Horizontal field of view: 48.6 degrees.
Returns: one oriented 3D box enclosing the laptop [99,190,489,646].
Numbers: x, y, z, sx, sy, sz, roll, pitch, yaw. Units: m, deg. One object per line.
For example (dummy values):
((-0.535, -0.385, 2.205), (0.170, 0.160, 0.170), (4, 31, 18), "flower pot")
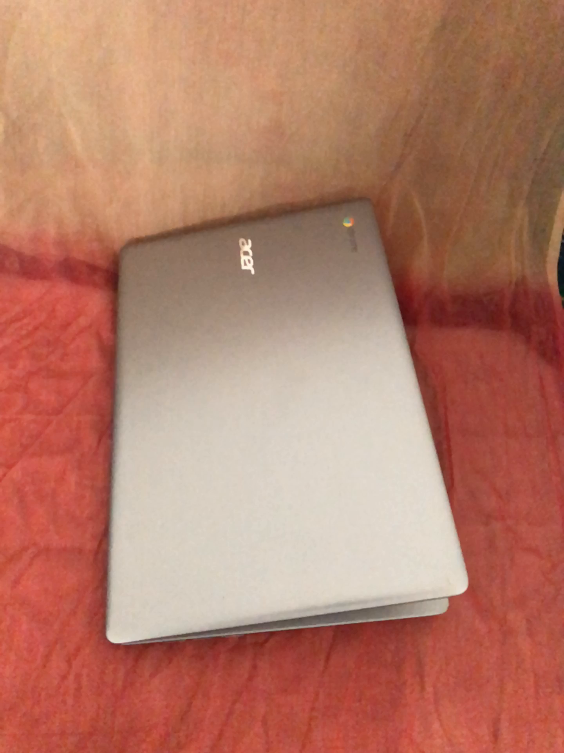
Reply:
((-0.010, 0.006, 0.455), (0.219, 0.065, 0.323), (-3, 59, -7), "laptop")
